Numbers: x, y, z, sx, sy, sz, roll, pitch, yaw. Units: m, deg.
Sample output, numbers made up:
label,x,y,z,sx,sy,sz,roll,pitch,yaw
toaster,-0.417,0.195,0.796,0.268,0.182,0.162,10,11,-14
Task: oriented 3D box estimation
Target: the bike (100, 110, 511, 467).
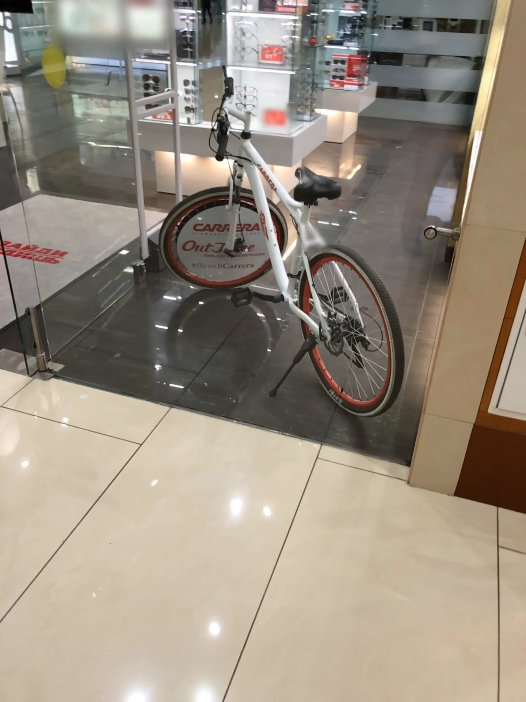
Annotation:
label,x,y,z,sx,sy,sz,roll,pitch,yaw
bike,0.009,-0.363,2.200,0.593,0.947,1.384,-20,34,-33
